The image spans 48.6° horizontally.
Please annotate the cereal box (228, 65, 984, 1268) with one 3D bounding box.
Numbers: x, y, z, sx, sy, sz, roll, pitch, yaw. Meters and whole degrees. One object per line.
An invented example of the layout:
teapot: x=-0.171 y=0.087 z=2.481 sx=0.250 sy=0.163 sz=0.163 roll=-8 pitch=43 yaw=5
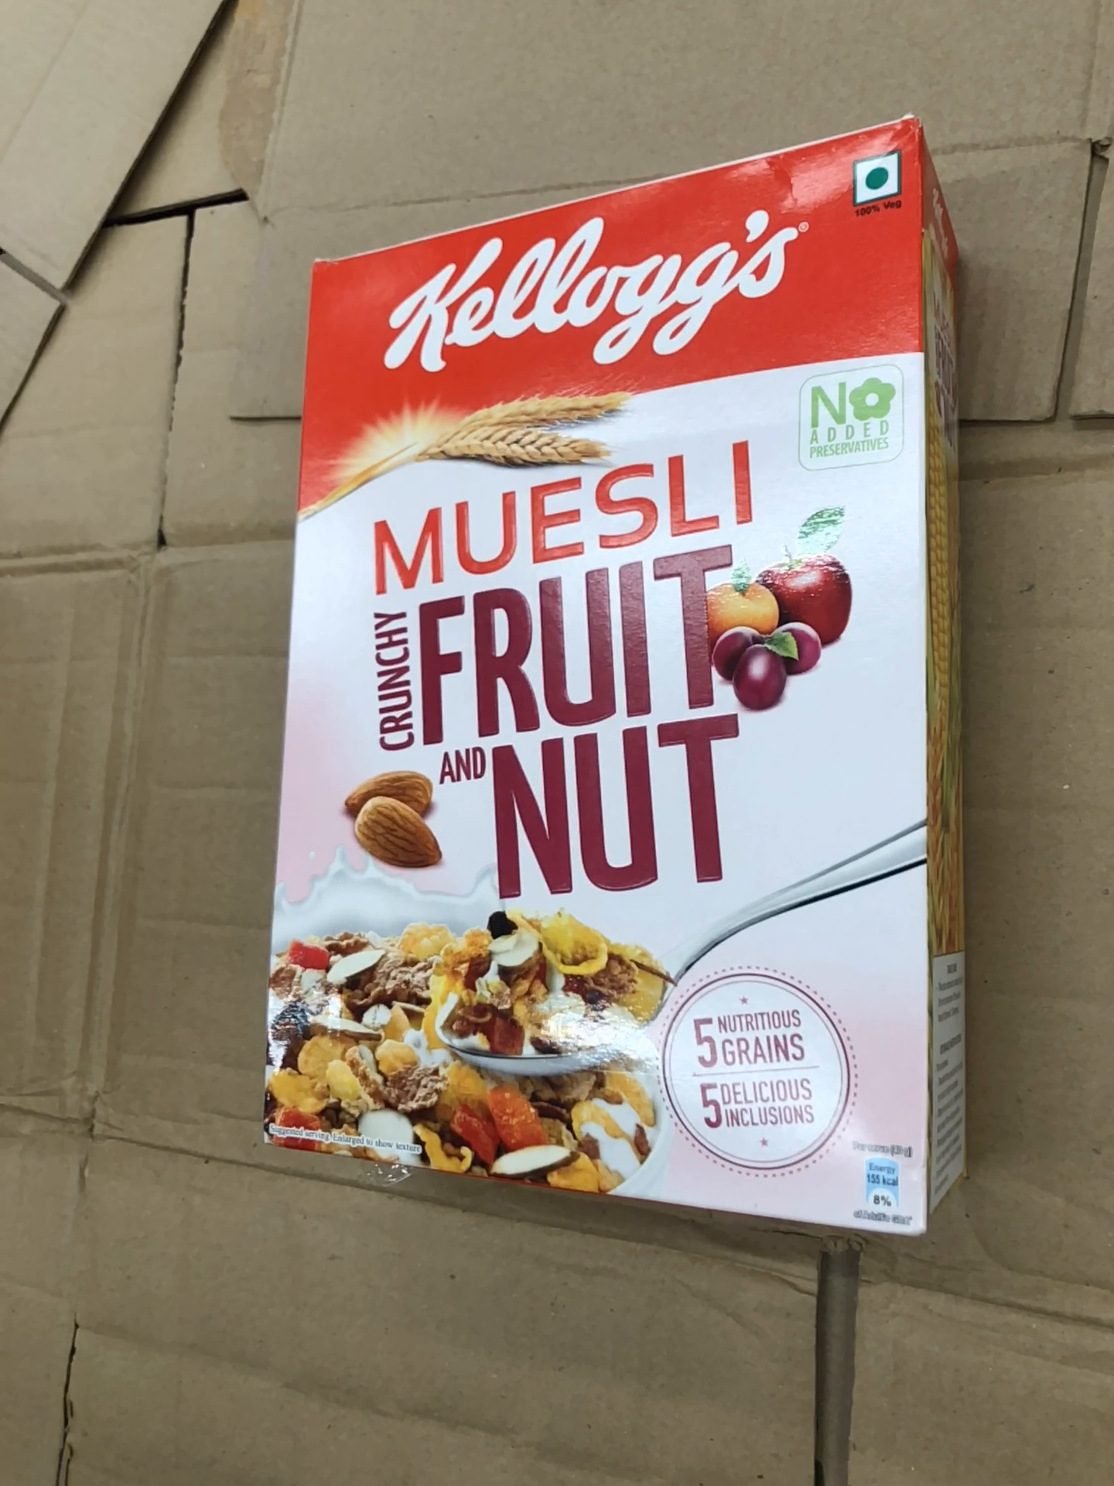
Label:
cereal box: x=0.015 y=-0.015 z=0.325 sx=0.170 sy=0.080 sz=0.250 roll=-2 pitch=81 yaw=26
